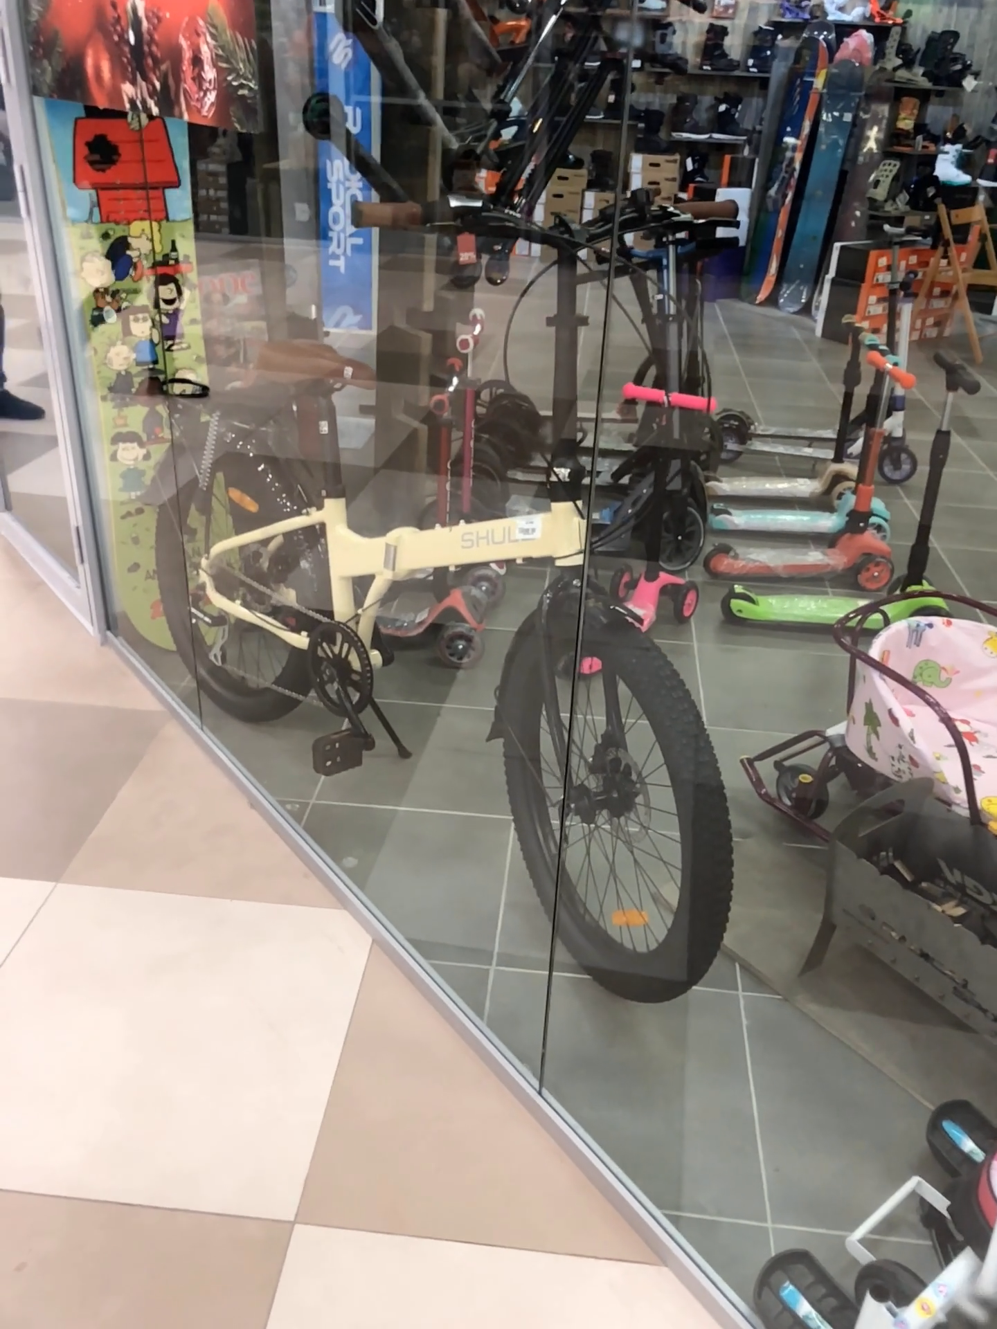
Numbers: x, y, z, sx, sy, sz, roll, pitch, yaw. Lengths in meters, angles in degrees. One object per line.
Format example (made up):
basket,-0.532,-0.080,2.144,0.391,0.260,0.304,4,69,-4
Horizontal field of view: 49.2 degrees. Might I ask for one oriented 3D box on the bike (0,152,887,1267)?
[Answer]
bike,-0.291,-0.184,1.921,0.594,1.174,1.707,-20,35,-37
